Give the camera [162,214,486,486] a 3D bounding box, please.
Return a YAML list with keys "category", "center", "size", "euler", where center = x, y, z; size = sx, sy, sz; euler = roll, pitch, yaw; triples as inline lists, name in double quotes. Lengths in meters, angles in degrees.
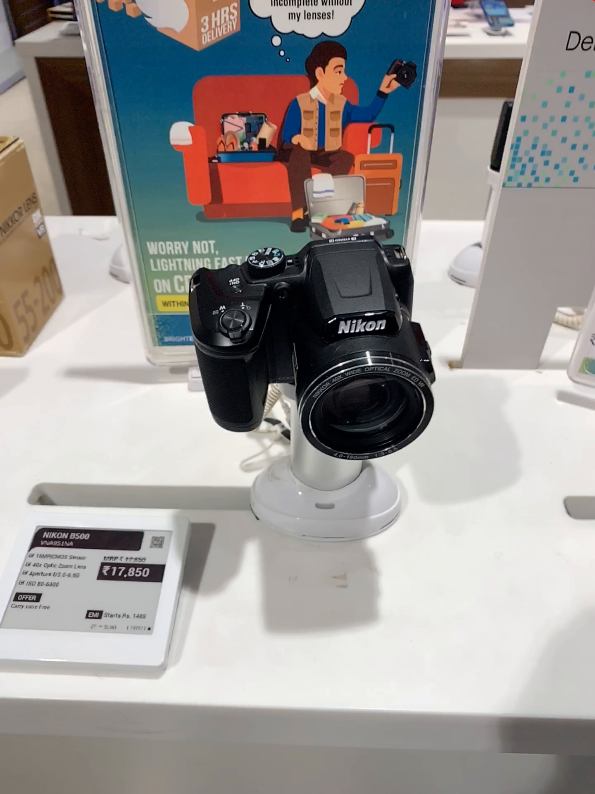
- category: "camera"
  center: [0.006, -0.025, 0.284]
  size: [0.120, 0.080, 0.090]
  euler: [-5, 40, -5]
